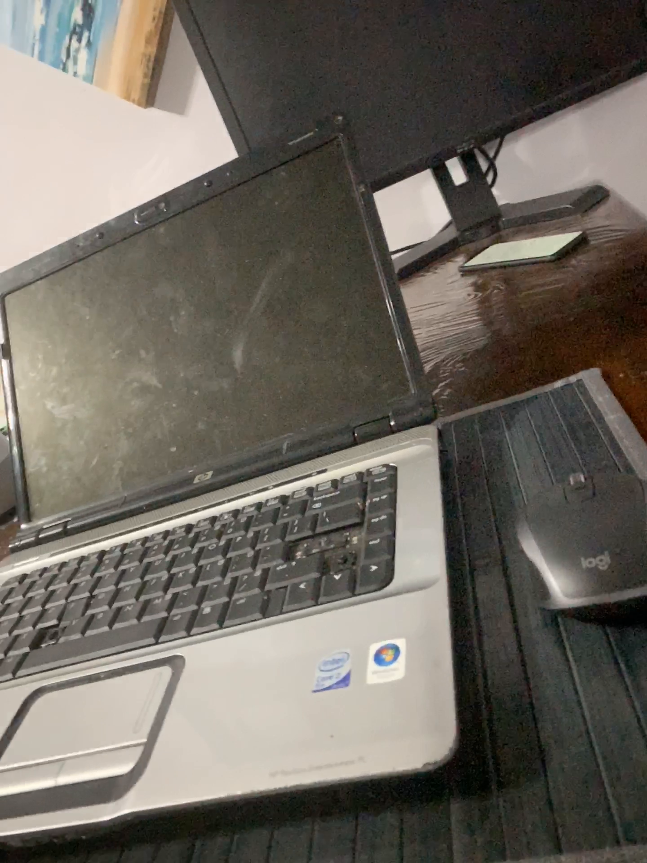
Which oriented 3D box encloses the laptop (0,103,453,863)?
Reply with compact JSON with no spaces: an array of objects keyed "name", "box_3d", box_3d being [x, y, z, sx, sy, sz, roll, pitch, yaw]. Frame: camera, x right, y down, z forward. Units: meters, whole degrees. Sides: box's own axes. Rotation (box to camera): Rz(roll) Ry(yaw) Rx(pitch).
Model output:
[{"name":"laptop","box_3d":[-0.129,-0.020,0.409,0.349,0.186,0.404,-18,24,17]}]
